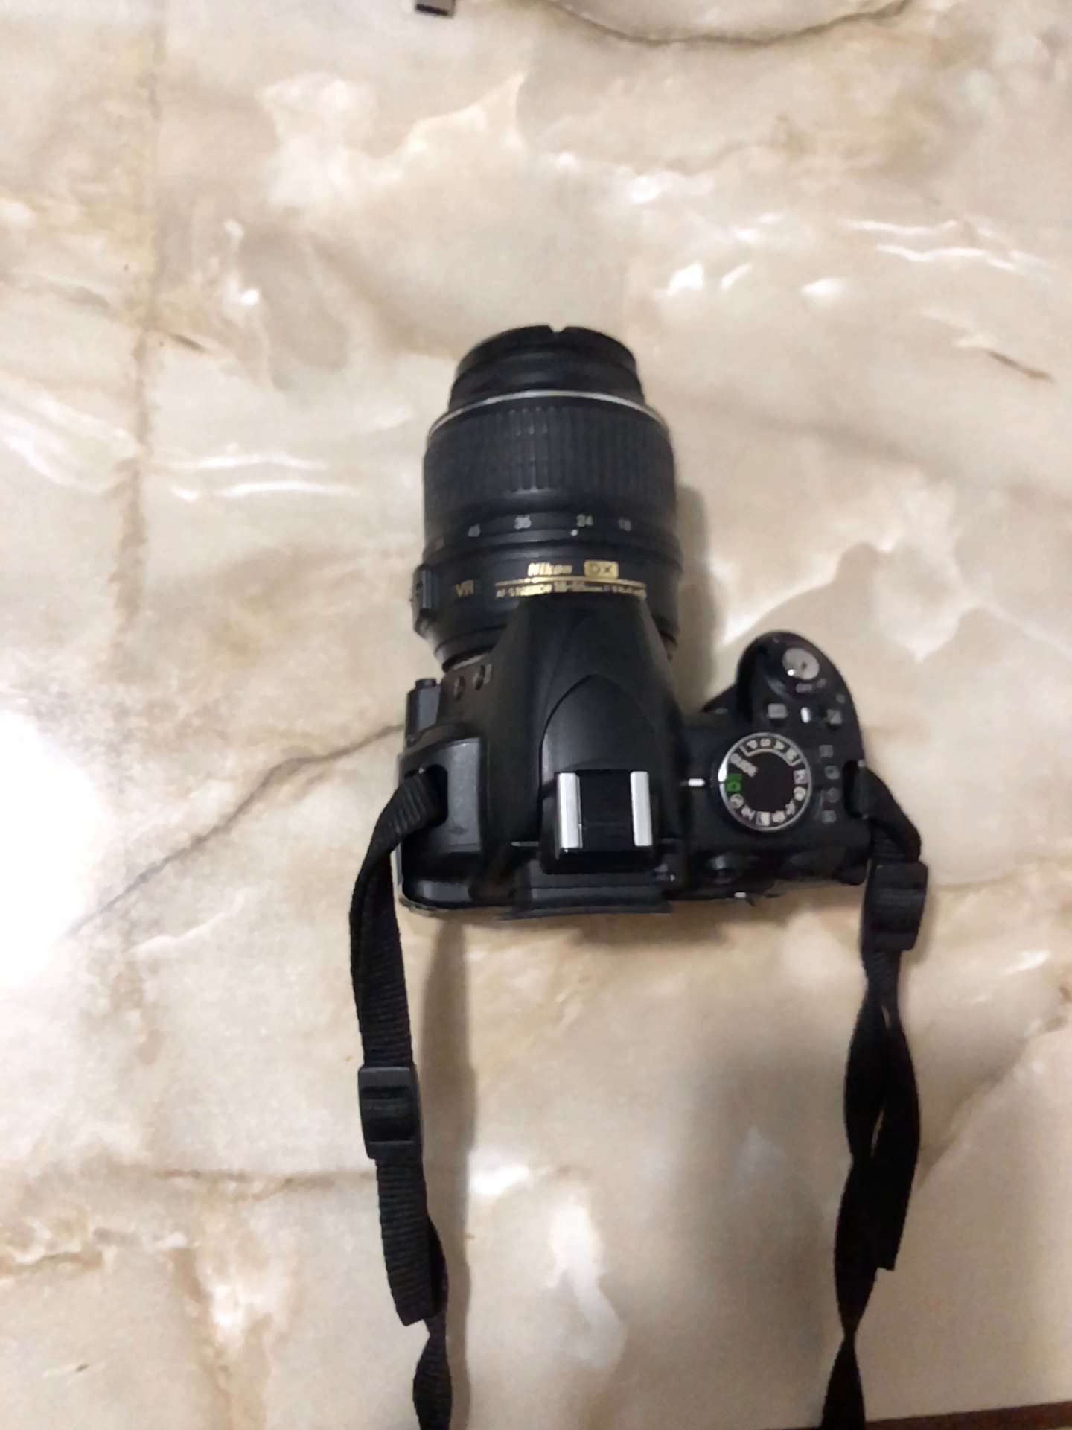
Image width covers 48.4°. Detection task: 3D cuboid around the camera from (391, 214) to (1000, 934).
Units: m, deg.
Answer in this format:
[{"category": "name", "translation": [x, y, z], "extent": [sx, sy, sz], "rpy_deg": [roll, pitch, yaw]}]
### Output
[{"category": "camera", "translation": [0.028, -0.027, 0.313], "extent": [0.126, 0.100, 0.160], "rpy_deg": [-1, 79, -8]}]
